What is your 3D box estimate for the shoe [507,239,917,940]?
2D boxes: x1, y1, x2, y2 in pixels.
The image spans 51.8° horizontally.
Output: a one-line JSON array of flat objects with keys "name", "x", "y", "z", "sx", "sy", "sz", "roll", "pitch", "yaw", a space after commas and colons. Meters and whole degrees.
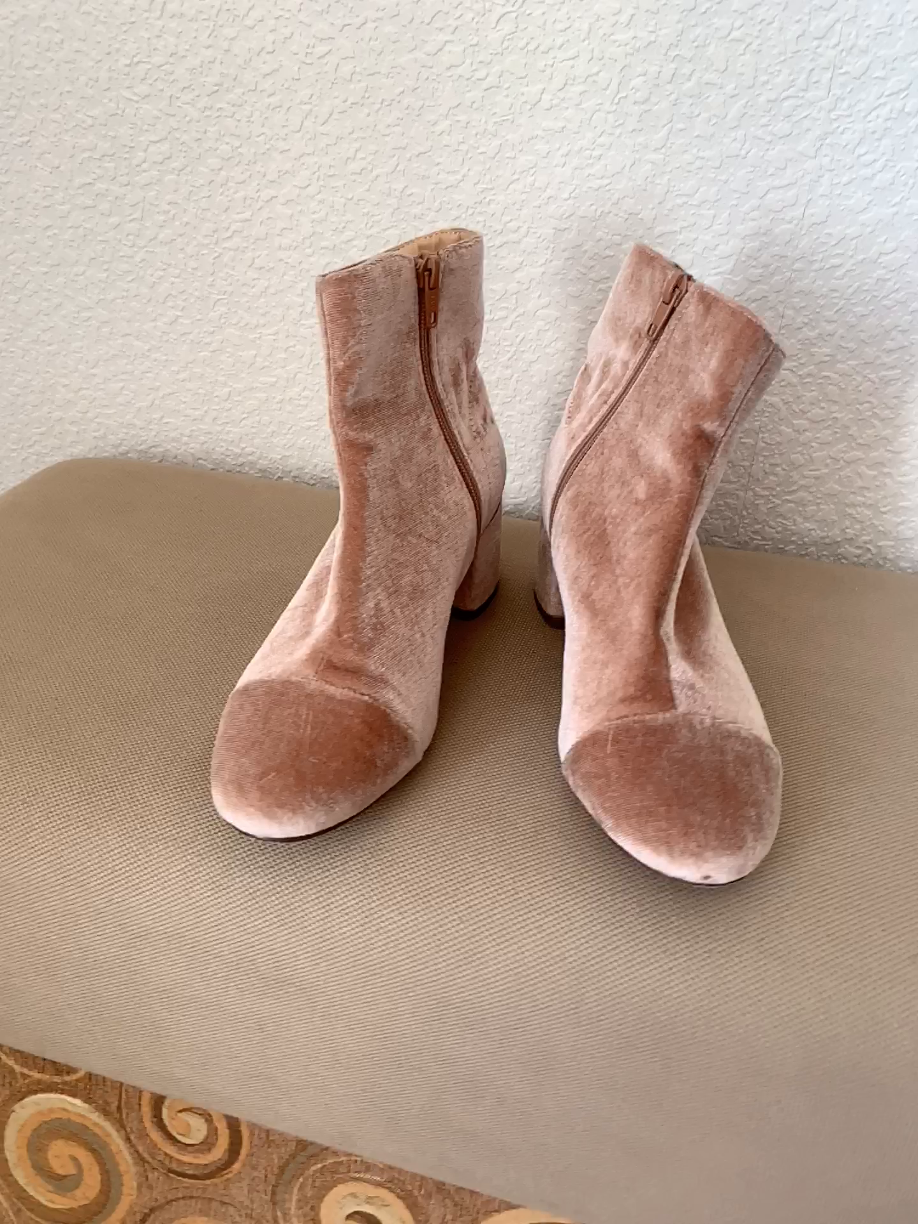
[{"name": "shoe", "x": 0.086, "y": -0.034, "z": 0.391, "sx": 0.100, "sy": 0.169, "sz": 0.271, "roll": 0, "pitch": 33, "yaw": -3}]

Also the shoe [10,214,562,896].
[{"name": "shoe", "x": -0.039, "y": -0.044, "z": 0.378, "sx": 0.100, "sy": 0.169, "sz": 0.231, "roll": 11, "pitch": 34, "yaw": 14}]
